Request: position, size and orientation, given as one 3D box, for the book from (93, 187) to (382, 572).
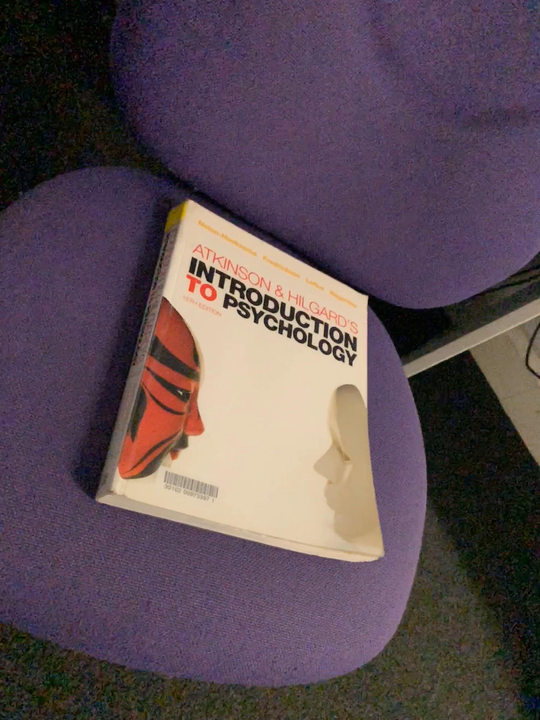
[{"bbox_3d":[-0.003,0.010,0.476,0.222,0.034,0.284,24,51,-25],"label":"book"}]
